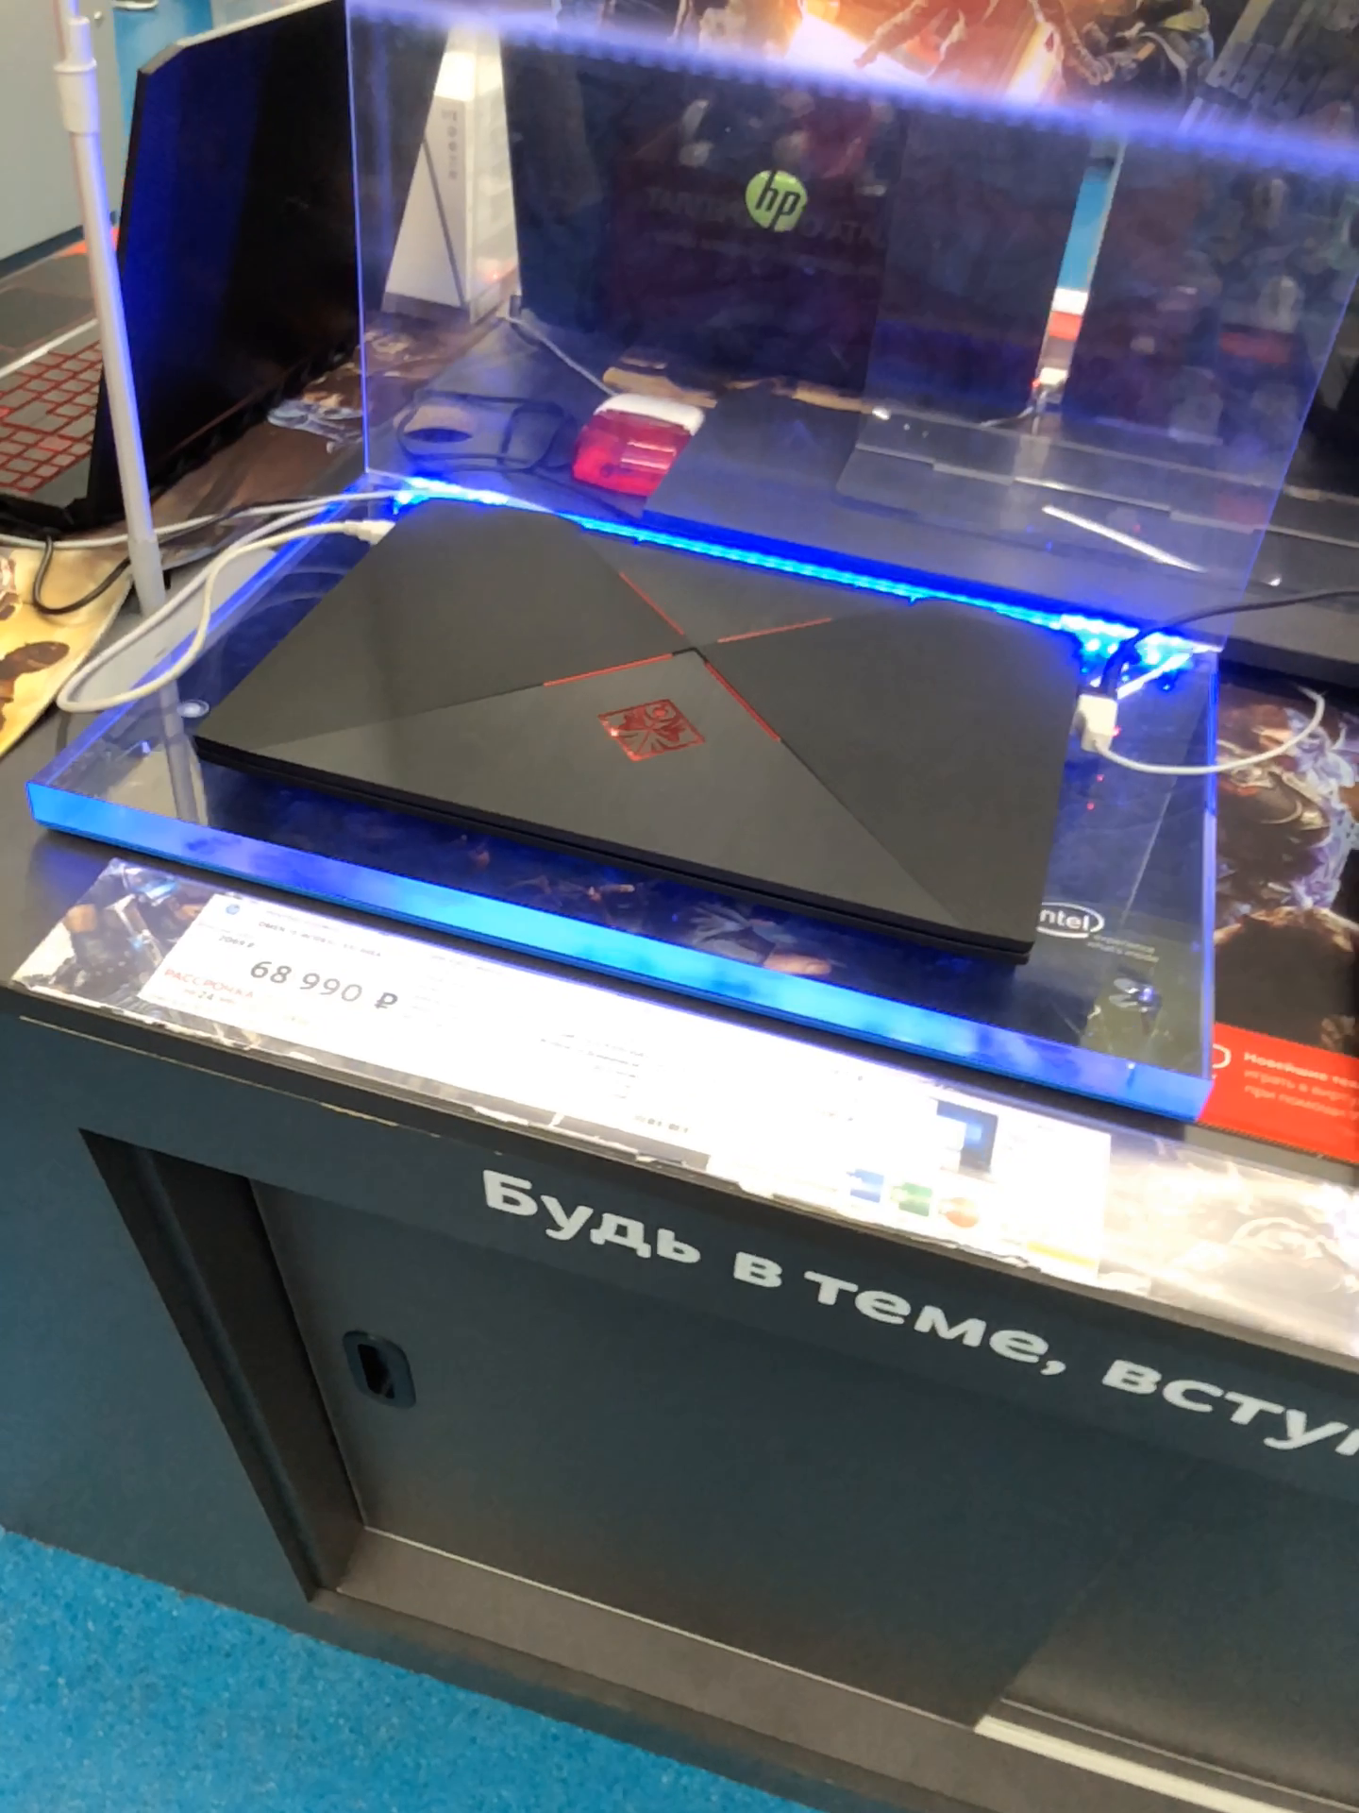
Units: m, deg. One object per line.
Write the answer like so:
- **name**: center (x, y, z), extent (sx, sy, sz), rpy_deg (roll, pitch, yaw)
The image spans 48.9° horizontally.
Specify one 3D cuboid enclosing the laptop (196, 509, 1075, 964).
- **laptop**: center (-0.004, -0.096, 0.681), extent (0.349, 0.003, 0.238), rpy_deg (14, 41, 10)
